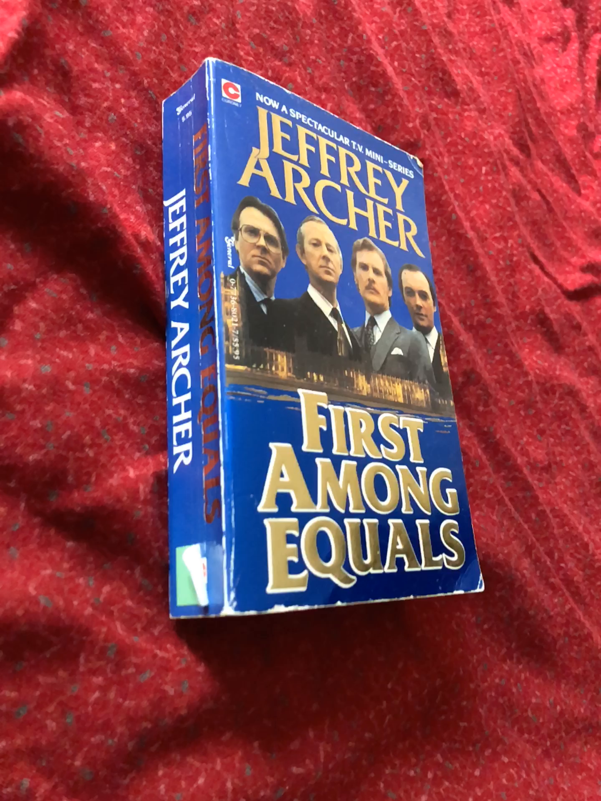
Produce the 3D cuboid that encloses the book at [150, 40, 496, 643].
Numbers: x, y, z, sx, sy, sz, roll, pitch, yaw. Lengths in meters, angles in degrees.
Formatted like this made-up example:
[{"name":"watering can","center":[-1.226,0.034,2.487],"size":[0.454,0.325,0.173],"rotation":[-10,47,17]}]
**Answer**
[{"name":"book","center":[0.007,-0.015,0.233],"size":[0.111,0.038,0.177],"rotation":[9,69,-40]}]
